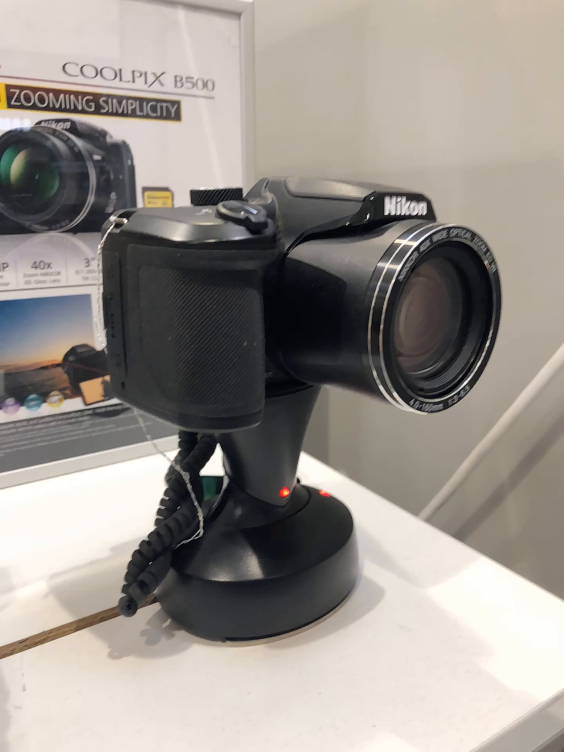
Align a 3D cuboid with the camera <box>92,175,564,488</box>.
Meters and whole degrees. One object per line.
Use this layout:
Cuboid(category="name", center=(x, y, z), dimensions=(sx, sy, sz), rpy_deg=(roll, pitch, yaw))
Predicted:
Cuboid(category="camera", center=(0.016, -0.028, 0.211), dimensions=(0.120, 0.070, 0.100), rpy_deg=(-12, 19, -35))
